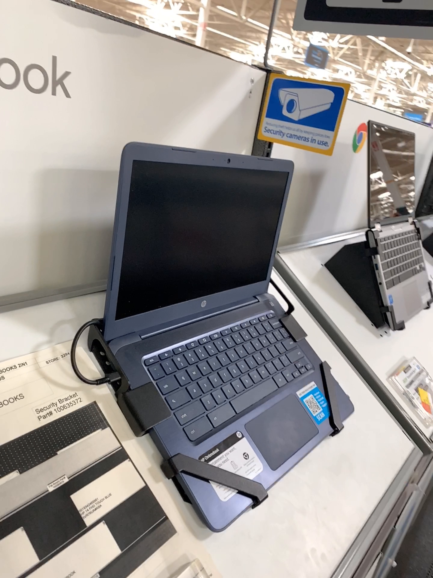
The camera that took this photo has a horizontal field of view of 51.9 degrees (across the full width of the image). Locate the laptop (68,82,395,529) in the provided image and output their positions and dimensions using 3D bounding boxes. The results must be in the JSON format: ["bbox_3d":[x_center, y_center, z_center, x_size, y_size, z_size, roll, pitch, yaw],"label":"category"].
[{"bbox_3d":[0.030,-0.019,0.559,0.318,0.190,0.323,-14,54,-49],"label":"laptop"}]
